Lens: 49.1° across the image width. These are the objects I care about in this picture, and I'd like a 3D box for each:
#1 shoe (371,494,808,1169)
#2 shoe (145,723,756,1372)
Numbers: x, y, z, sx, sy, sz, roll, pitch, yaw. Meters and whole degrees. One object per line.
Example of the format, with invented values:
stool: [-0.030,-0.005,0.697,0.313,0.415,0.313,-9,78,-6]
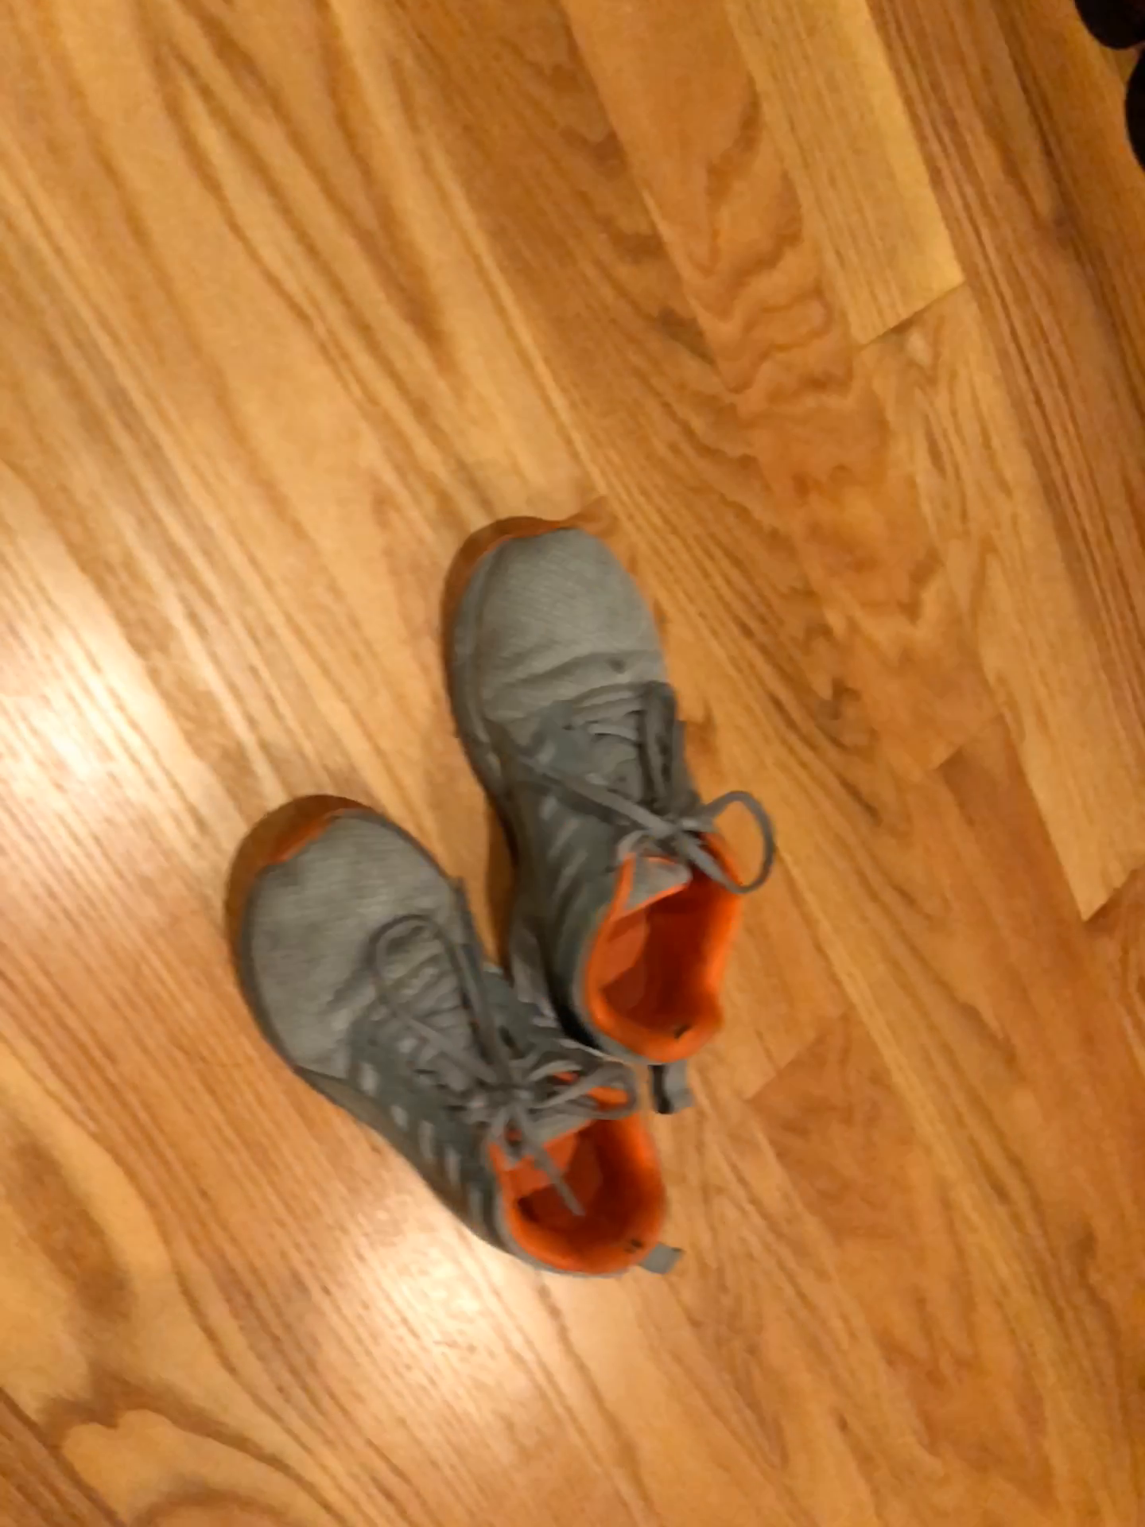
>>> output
shoe: [0.008,0.024,0.539,0.100,0.100,0.250,-20,105,-25]
shoe: [-0.044,0.117,0.523,0.110,0.080,0.250,-43,113,-18]
